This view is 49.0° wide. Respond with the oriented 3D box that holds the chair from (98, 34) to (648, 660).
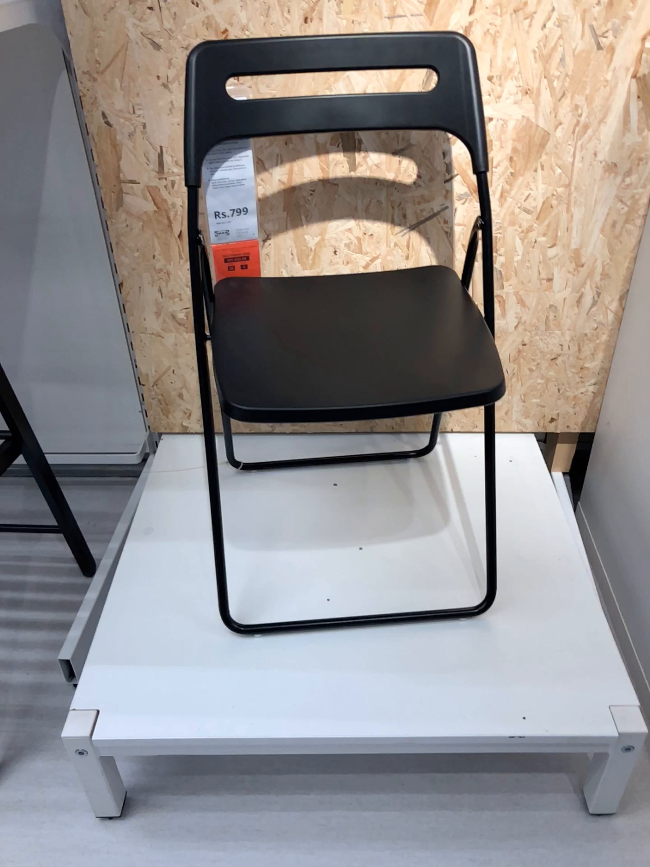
[{"bbox_3d":[0.042,-0.131,1.058,0.490,0.735,0.523,-3,36,-2],"label":"chair"}]
